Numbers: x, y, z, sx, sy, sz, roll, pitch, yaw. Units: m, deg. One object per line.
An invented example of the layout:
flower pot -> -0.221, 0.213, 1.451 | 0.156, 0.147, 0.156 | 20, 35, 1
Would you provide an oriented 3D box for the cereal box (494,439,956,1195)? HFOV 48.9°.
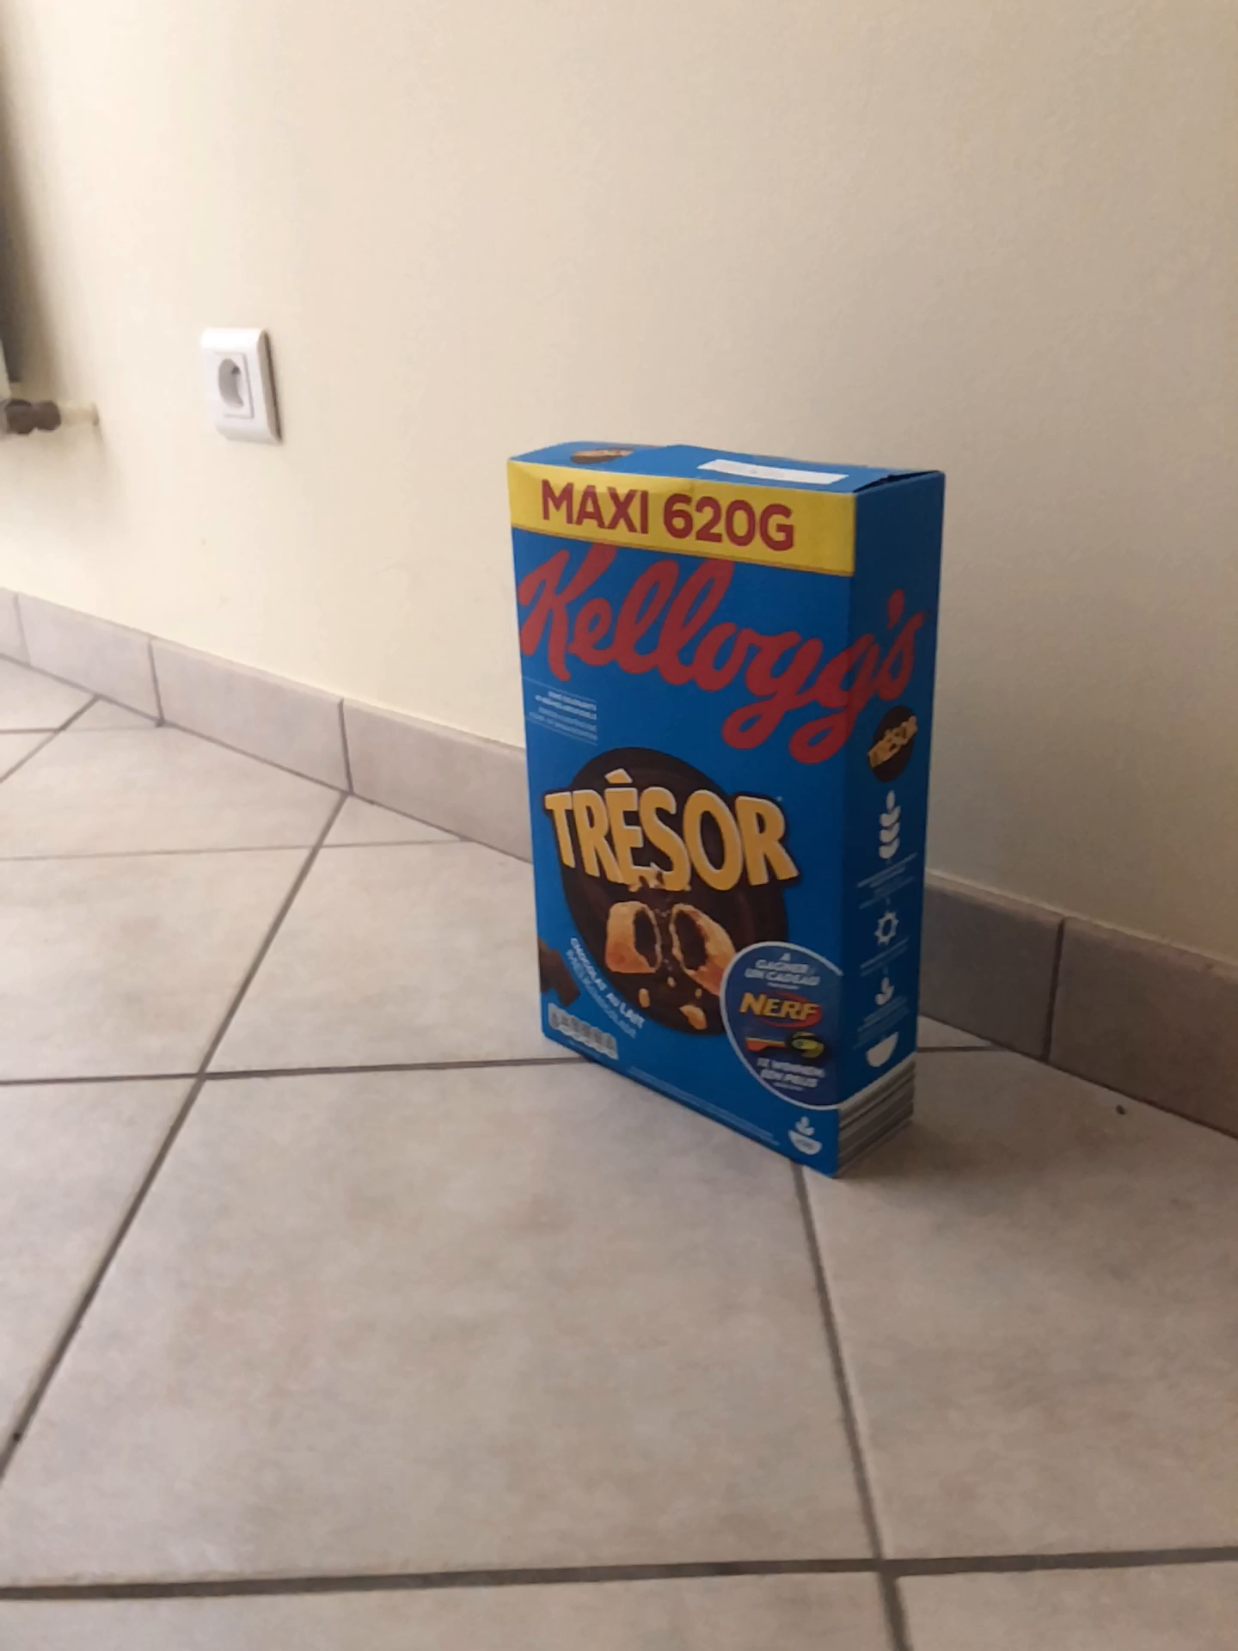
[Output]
cereal box -> 0.043, -0.012, 0.618 | 0.190, 0.299, 0.070 | 18, 29, 41
